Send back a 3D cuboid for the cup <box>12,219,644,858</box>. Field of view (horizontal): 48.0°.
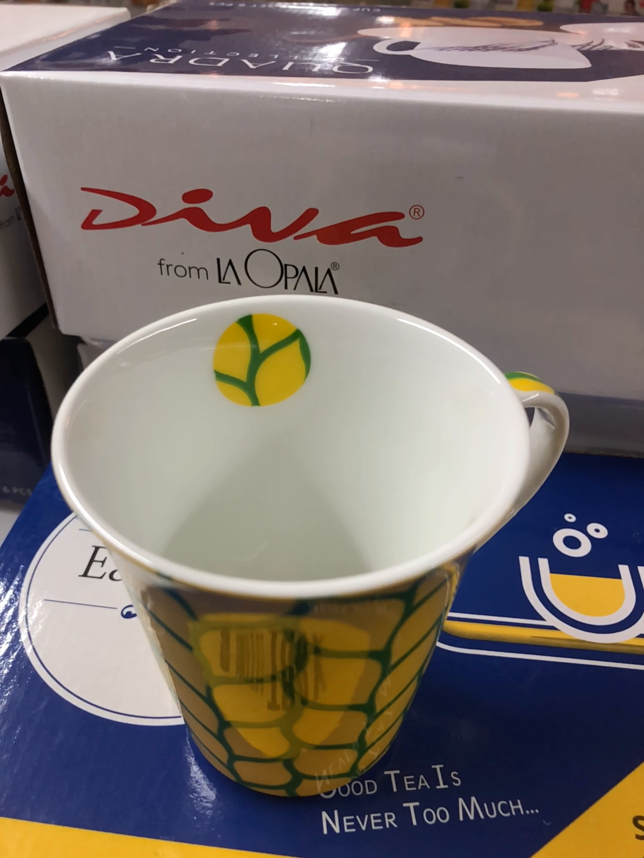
[{"bbox_3d":[0.008,0.021,0.164,0.110,0.089,0.080,-22,44,-26],"label":"cup"}]
